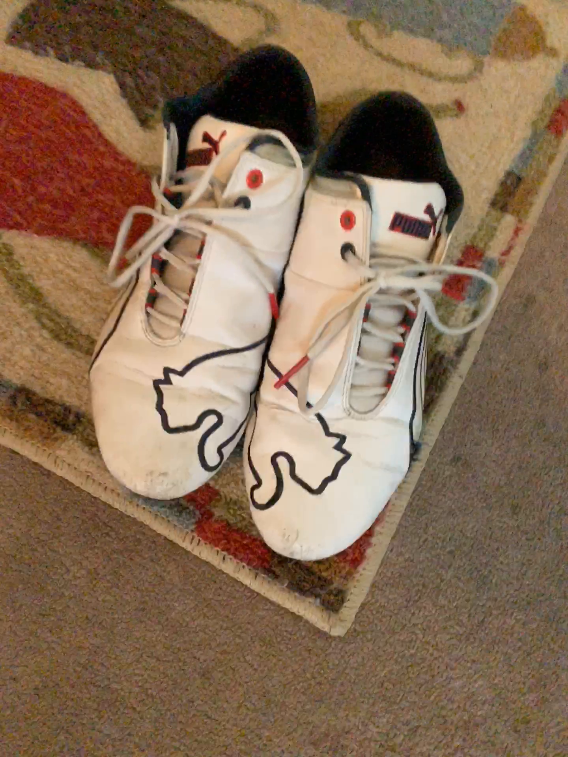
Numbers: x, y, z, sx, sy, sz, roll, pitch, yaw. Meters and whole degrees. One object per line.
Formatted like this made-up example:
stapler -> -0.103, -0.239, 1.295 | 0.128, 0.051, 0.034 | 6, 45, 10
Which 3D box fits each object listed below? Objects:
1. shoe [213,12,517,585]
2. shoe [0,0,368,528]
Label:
shoe -> 0.049, -0.050, 0.328 | 0.100, 0.107, 0.291 | 14, 66, 0
shoe -> -0.045, -0.079, 0.335 | 0.100, 0.107, 0.291 | 17, 66, 2
